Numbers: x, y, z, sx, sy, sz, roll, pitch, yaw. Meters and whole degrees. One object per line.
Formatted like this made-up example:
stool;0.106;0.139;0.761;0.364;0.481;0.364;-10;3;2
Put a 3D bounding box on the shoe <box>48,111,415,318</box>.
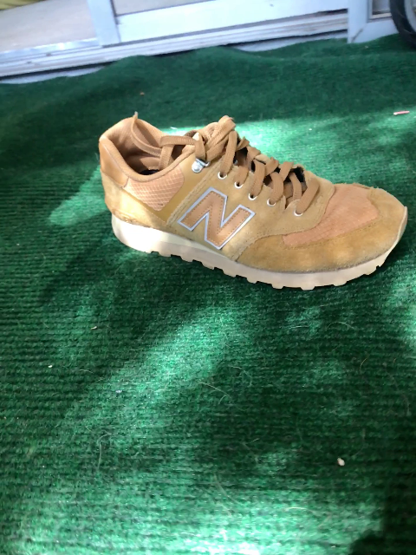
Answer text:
shoe;0.021;-0.065;0.369;0.260;0.099;0.111;10;42;25
